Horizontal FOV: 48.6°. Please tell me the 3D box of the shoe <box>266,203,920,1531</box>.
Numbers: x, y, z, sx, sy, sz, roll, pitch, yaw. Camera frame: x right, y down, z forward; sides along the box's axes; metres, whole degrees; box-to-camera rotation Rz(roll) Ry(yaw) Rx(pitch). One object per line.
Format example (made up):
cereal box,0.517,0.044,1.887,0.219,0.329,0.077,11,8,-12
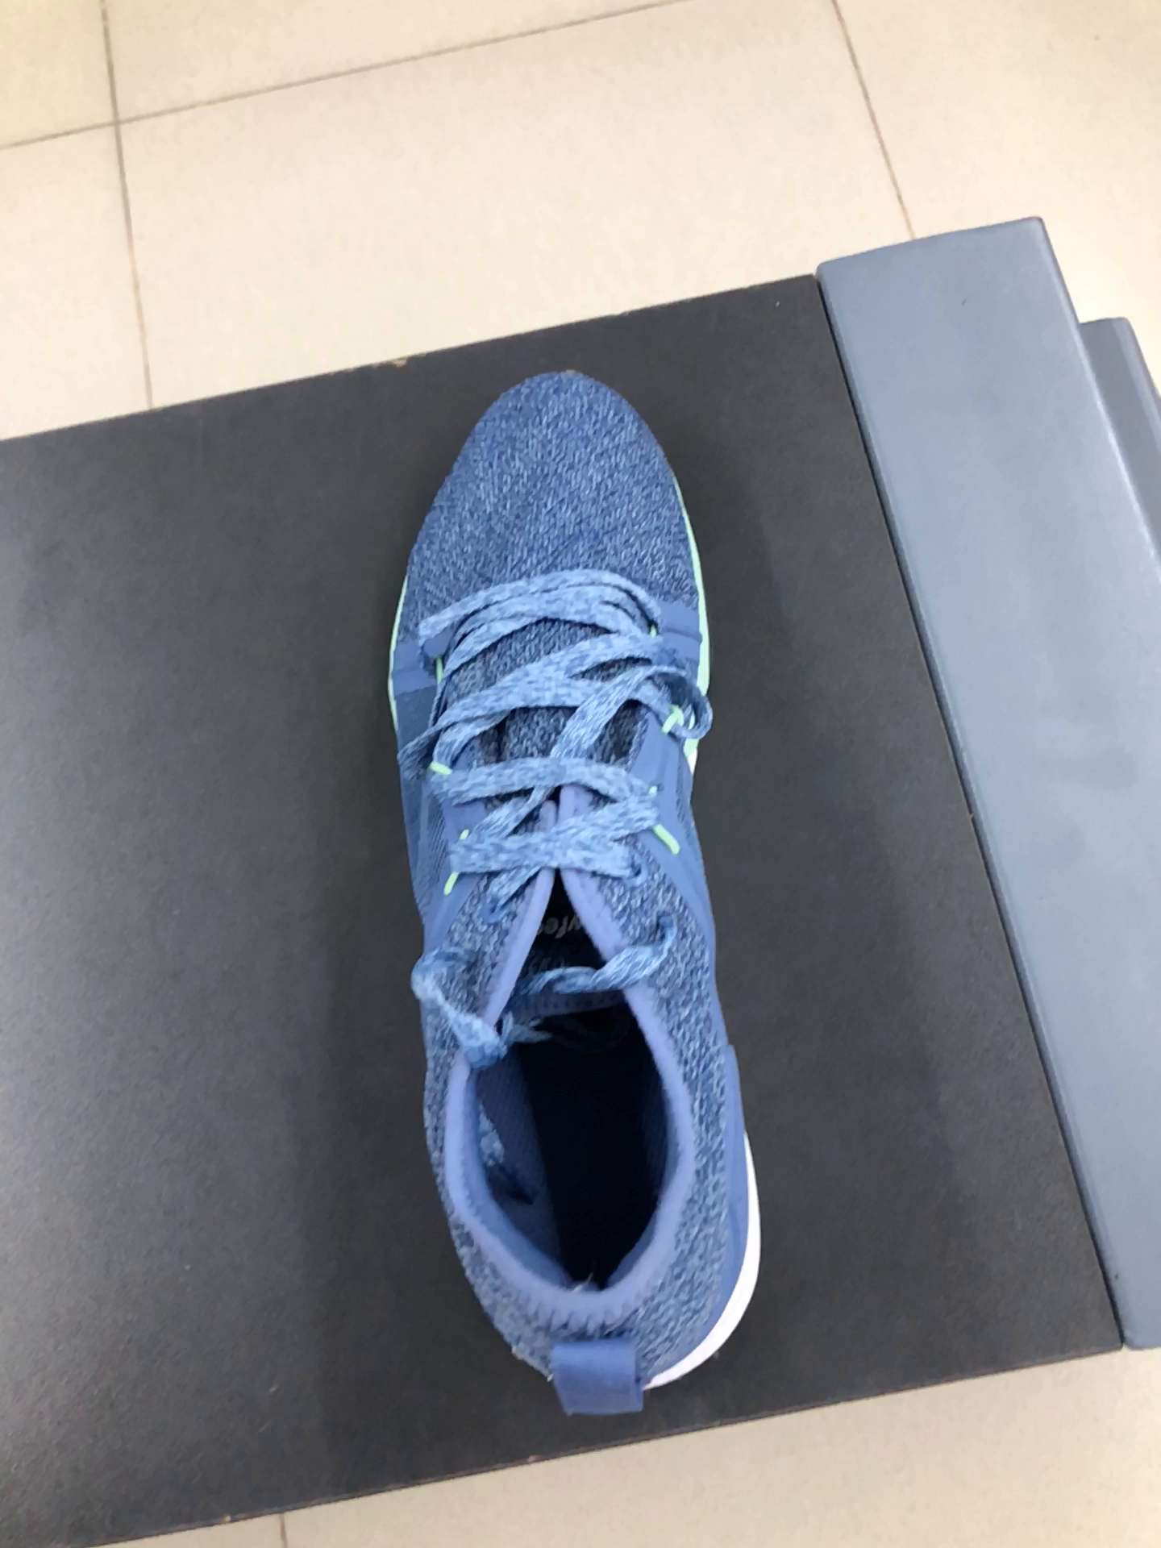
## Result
shoe,-0.005,0.010,0.316,0.100,0.080,0.281,-9,73,1
